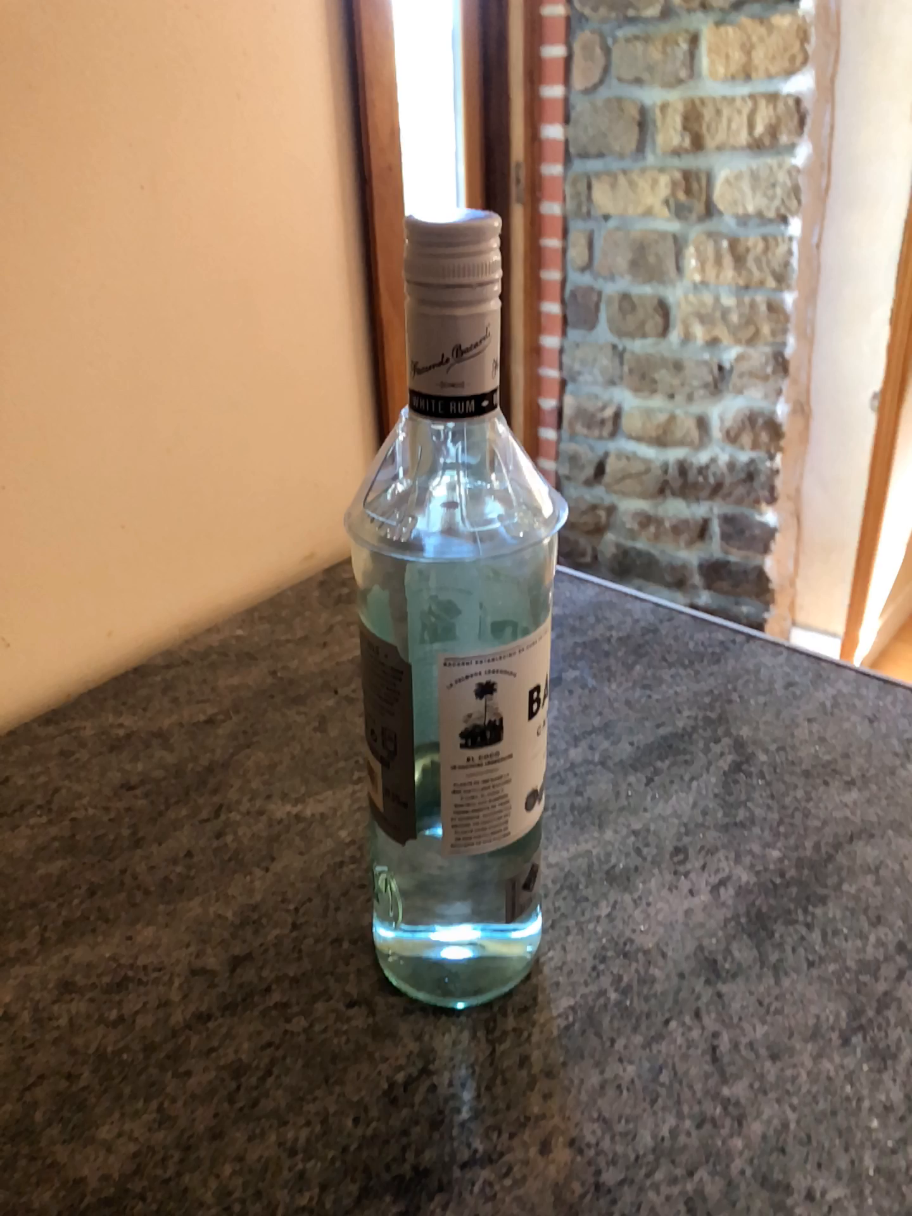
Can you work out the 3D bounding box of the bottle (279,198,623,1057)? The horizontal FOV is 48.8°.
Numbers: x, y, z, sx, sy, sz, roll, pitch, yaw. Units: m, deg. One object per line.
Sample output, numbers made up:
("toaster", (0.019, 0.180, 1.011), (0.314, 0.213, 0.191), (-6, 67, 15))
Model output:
("bottle", (0.000, 0.016, 0.368), (0.080, 0.298, 0.080), (-2, 27, 1))
